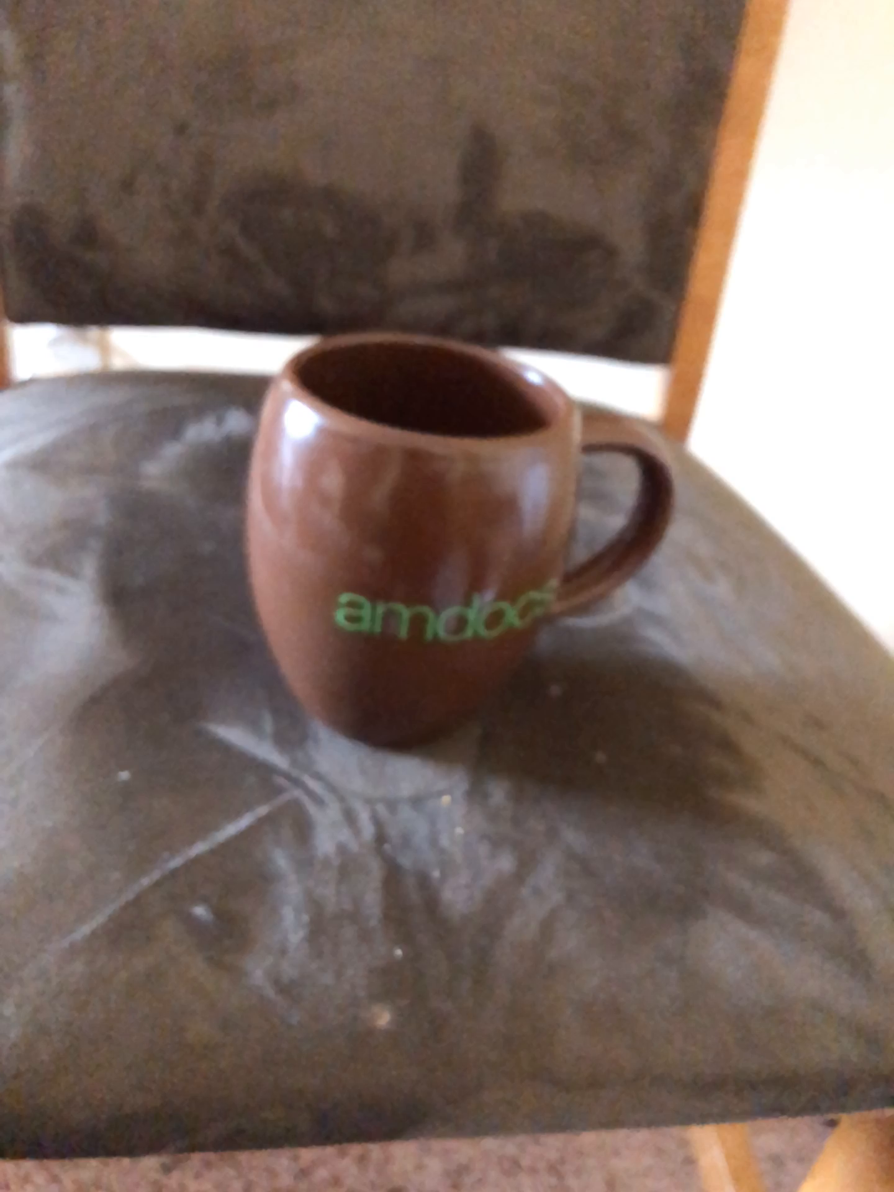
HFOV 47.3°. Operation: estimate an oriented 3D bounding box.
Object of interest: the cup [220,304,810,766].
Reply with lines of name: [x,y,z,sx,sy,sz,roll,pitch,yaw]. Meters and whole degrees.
cup: [0.010,-0.017,0.314,0.140,0.100,0.090,2,32,-20]
